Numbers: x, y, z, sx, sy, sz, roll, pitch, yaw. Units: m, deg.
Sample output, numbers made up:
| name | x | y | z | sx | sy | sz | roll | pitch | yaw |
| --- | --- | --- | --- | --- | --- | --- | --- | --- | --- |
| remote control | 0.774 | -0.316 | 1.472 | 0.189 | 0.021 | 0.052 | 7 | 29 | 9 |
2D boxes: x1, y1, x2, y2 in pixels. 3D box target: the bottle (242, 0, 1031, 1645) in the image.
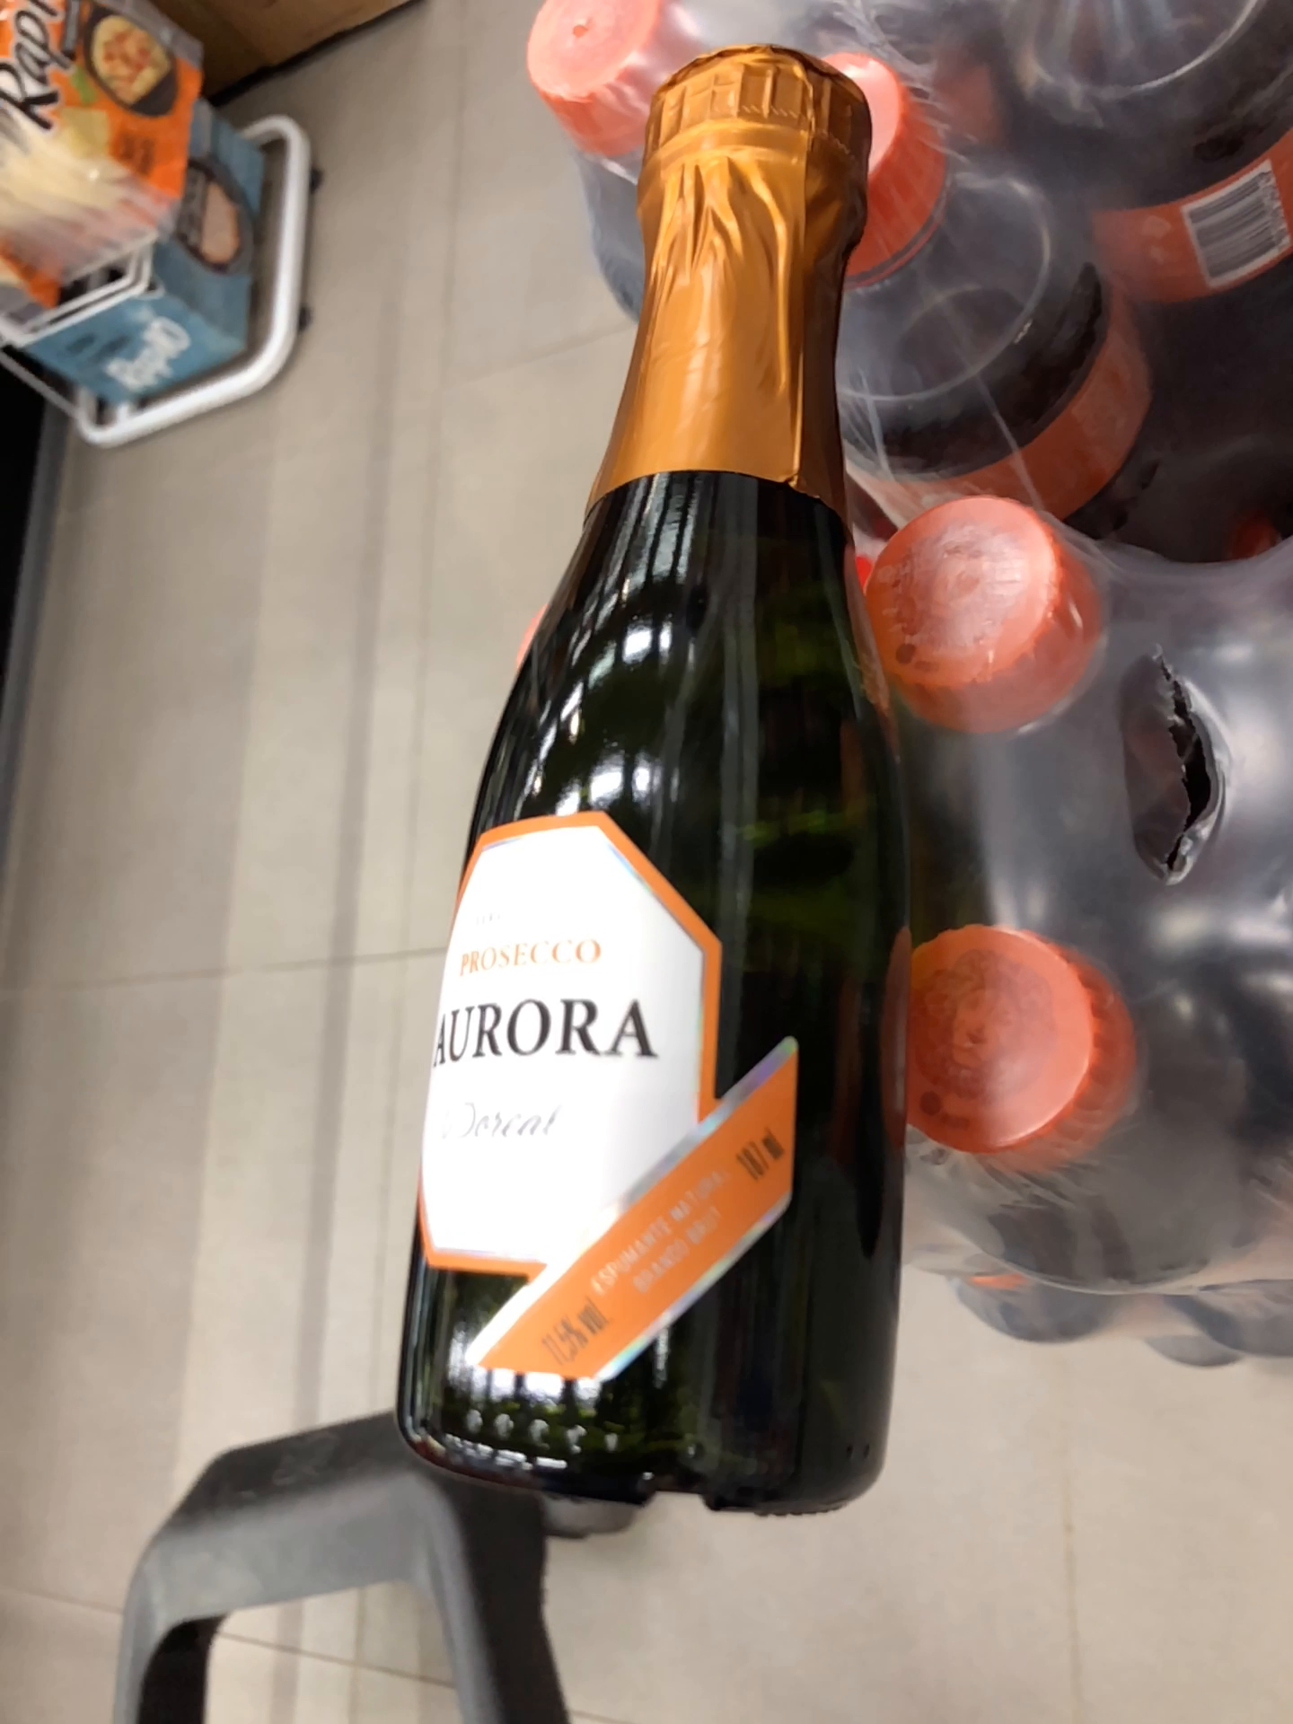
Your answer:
| name | x | y | z | sx | sy | sz | roll | pitch | yaw |
| --- | --- | --- | --- | --- | --- | --- | --- | --- | --- |
| bottle | 0.005 | -0.019 | 0.170 | 0.060 | 0.050 | 0.180 | -1 | 77 | 31 |
